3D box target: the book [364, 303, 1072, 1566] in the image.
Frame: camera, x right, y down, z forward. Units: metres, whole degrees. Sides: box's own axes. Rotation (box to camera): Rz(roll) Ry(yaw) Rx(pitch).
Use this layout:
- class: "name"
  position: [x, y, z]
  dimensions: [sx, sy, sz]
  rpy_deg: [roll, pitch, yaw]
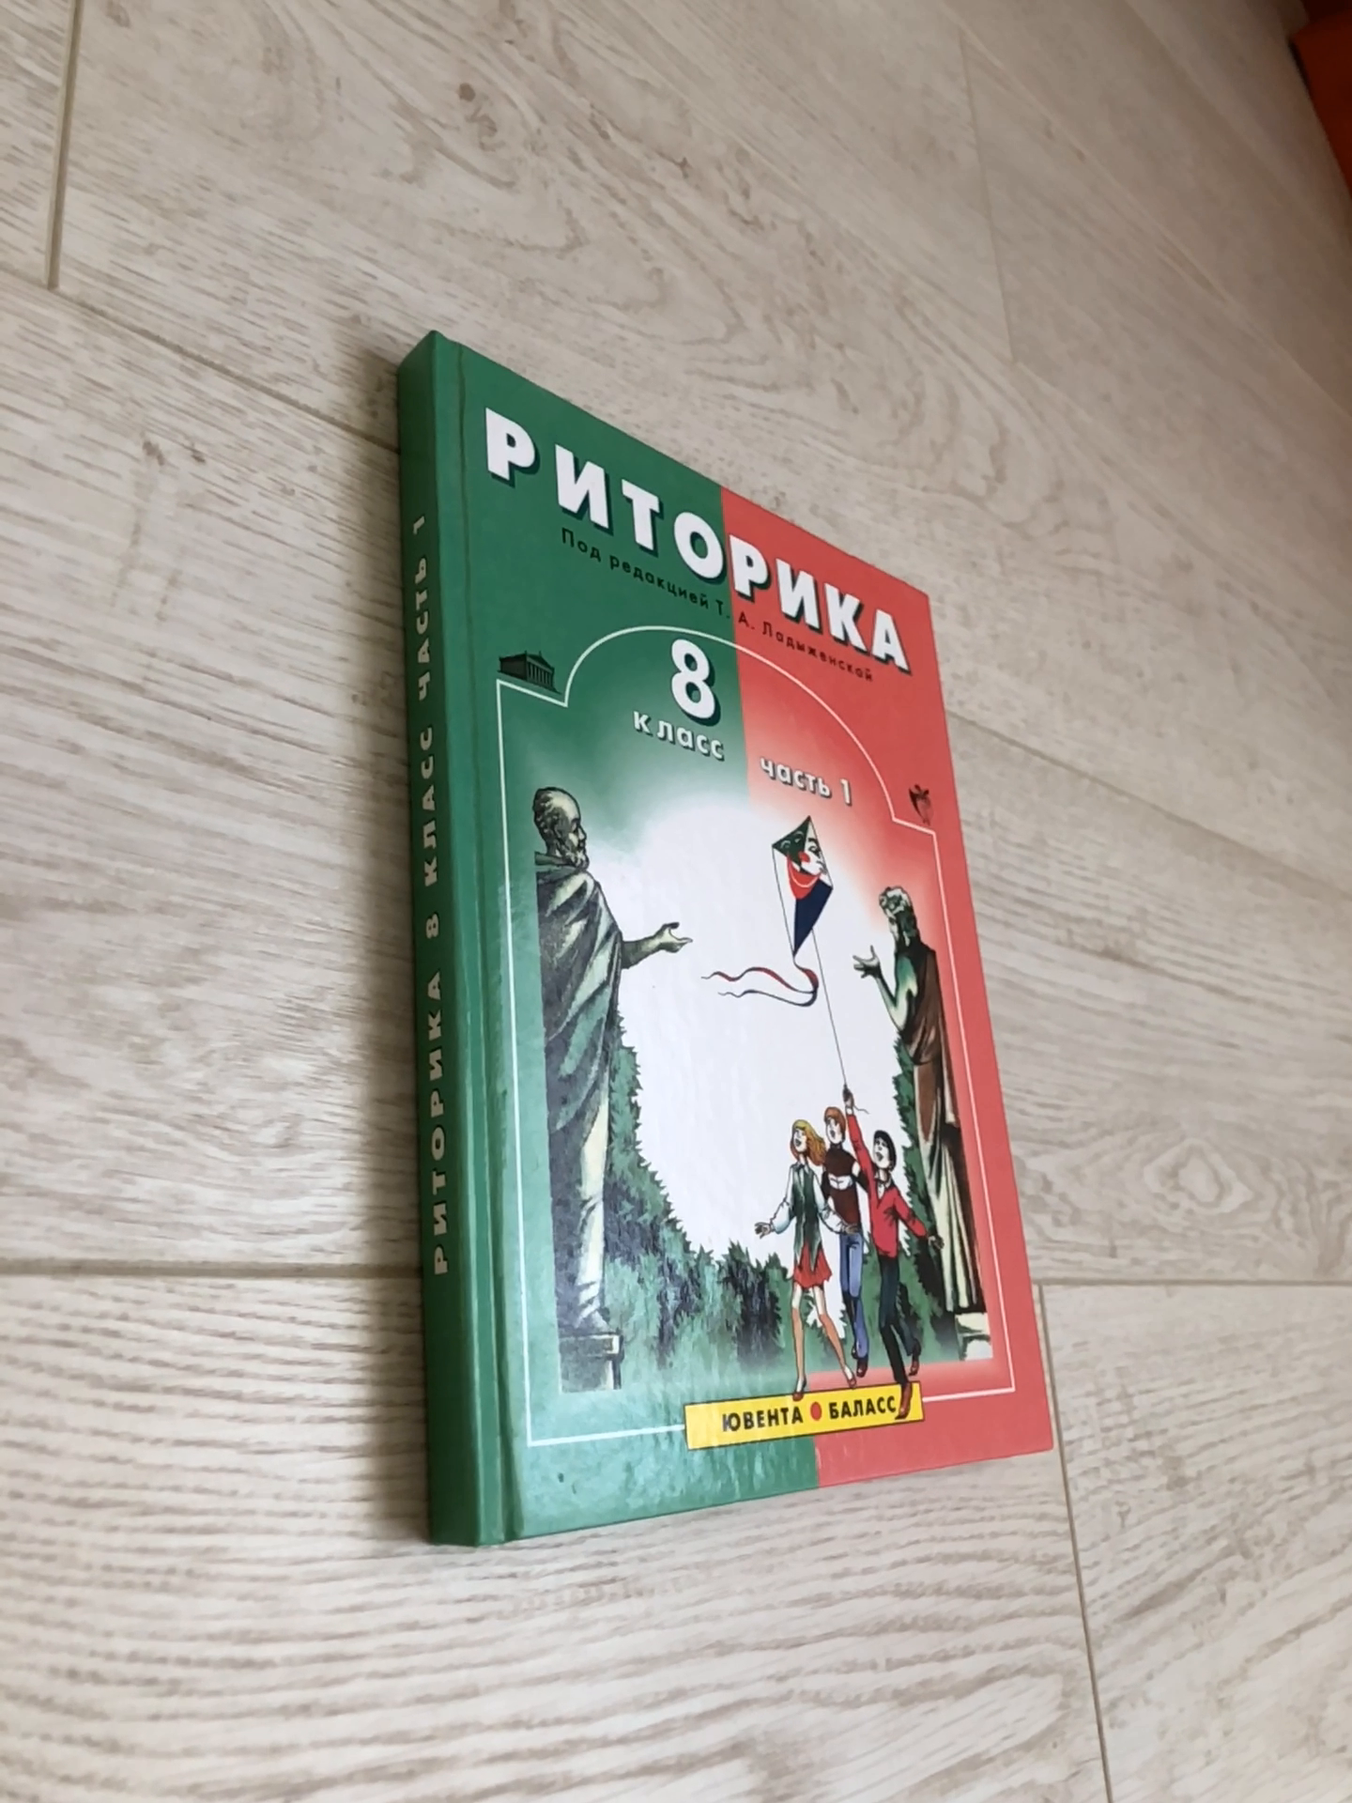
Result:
- class: "book"
  position: [0.014, 0.007, 0.318]
  dimensions: [0.171, 0.020, 0.223]
  rpy_deg: [13, 64, -45]
